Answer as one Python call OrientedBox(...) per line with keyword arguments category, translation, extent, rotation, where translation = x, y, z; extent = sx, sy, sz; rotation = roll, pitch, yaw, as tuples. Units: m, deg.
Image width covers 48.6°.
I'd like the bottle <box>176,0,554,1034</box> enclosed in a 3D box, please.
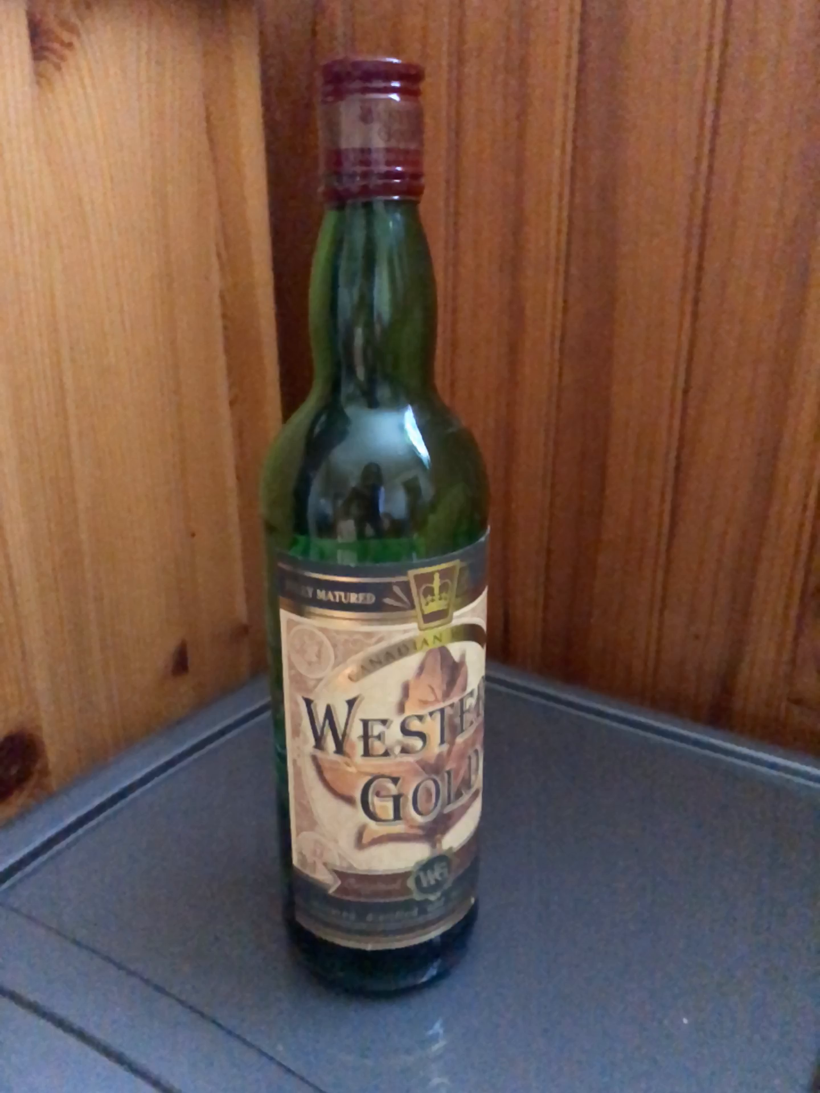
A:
OrientedBox(category="bottle", translation=(-0.016, 0.002, 0.300), extent=(0.080, 0.299, 0.080), rotation=(0, 19, 0))
